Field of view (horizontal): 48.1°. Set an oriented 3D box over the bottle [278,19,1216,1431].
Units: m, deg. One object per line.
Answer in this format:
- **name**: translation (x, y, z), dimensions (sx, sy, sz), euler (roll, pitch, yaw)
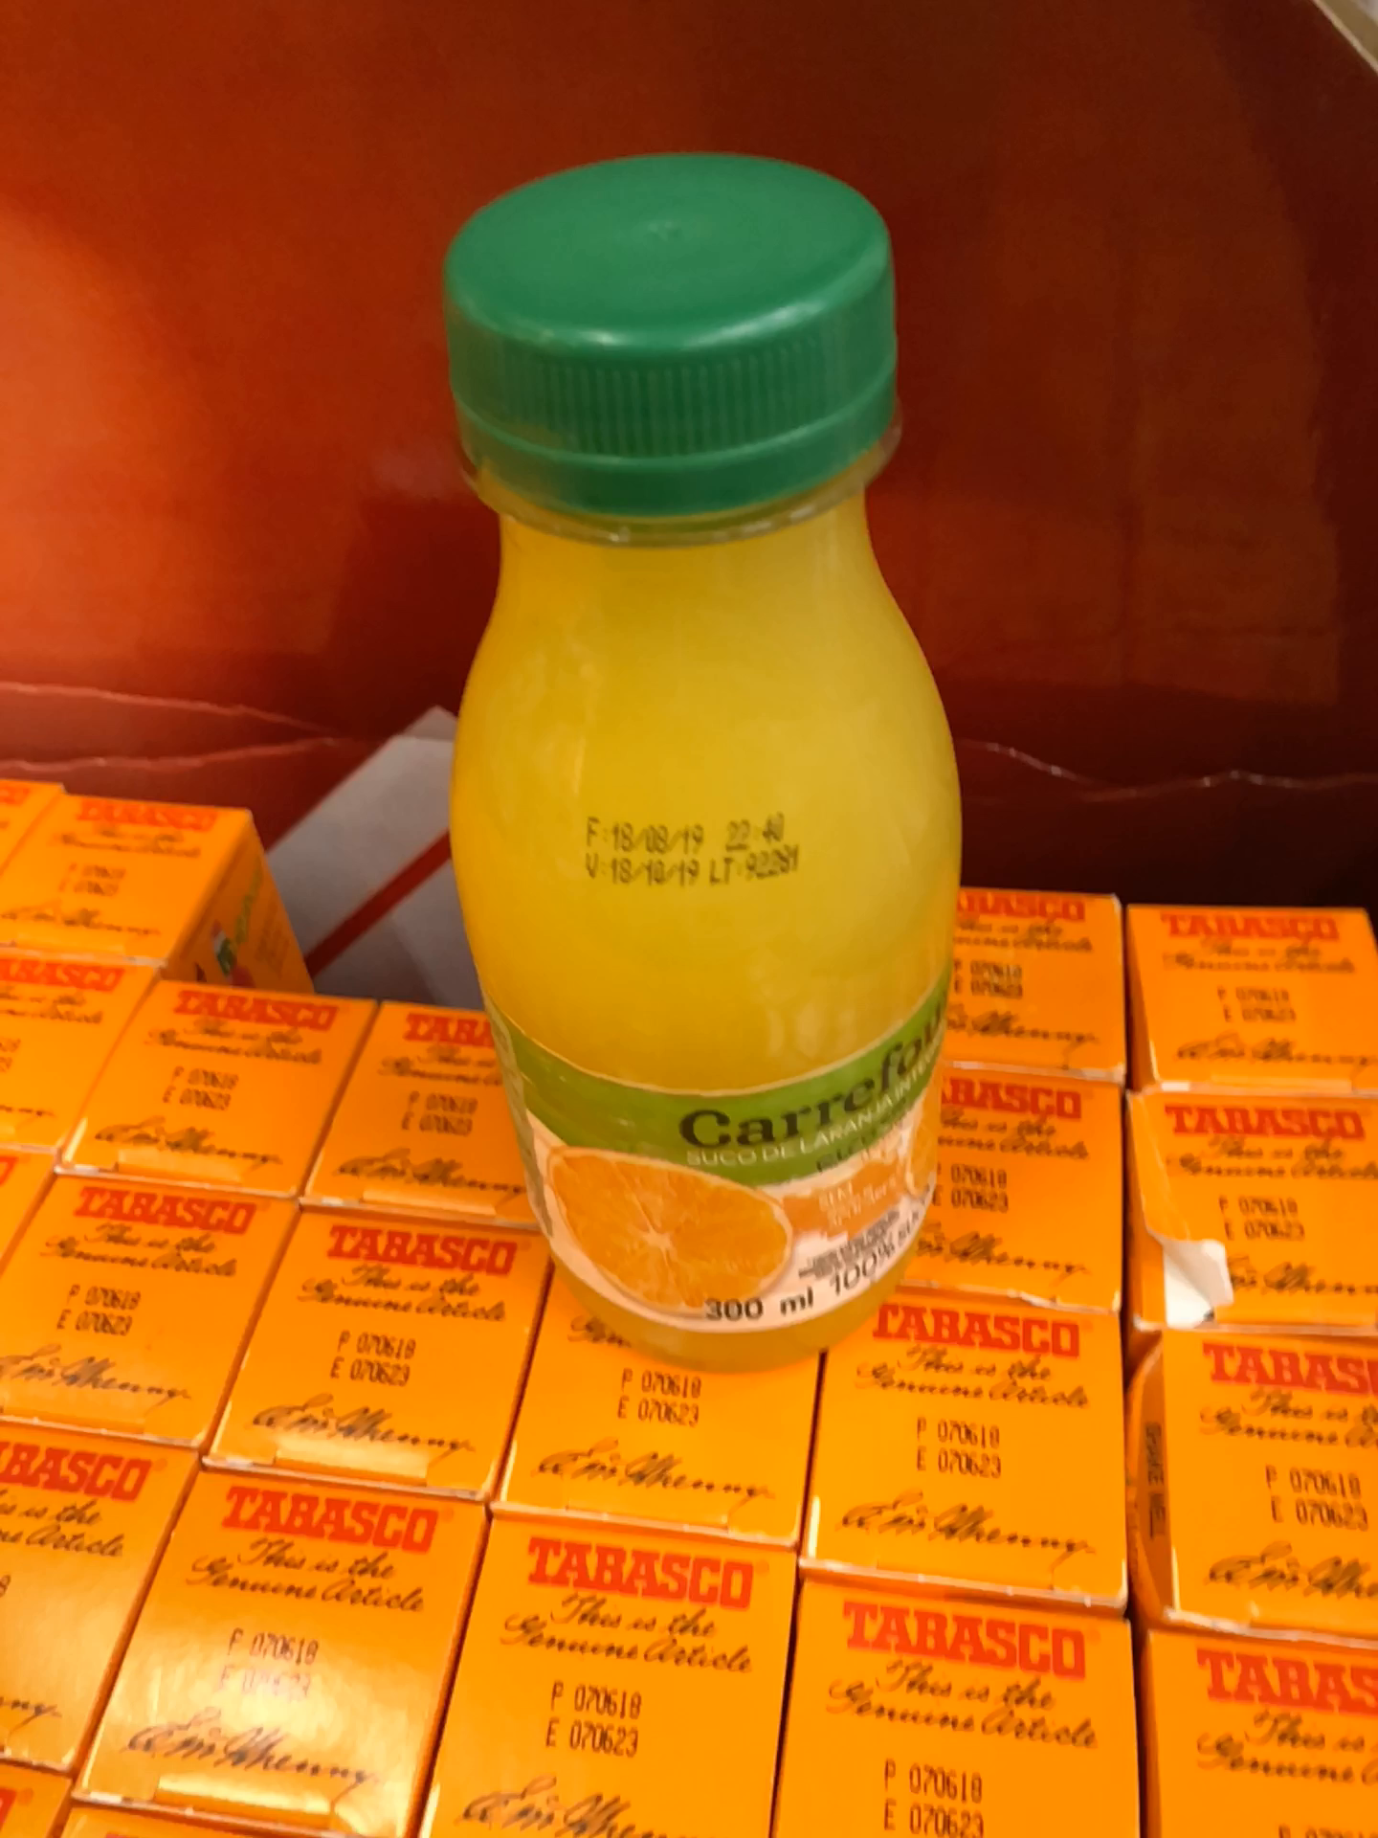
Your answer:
- **bottle**: translation (0.007, -0.010, 0.180), dimensions (0.060, 0.149, 0.050), euler (-24, 48, -18)
